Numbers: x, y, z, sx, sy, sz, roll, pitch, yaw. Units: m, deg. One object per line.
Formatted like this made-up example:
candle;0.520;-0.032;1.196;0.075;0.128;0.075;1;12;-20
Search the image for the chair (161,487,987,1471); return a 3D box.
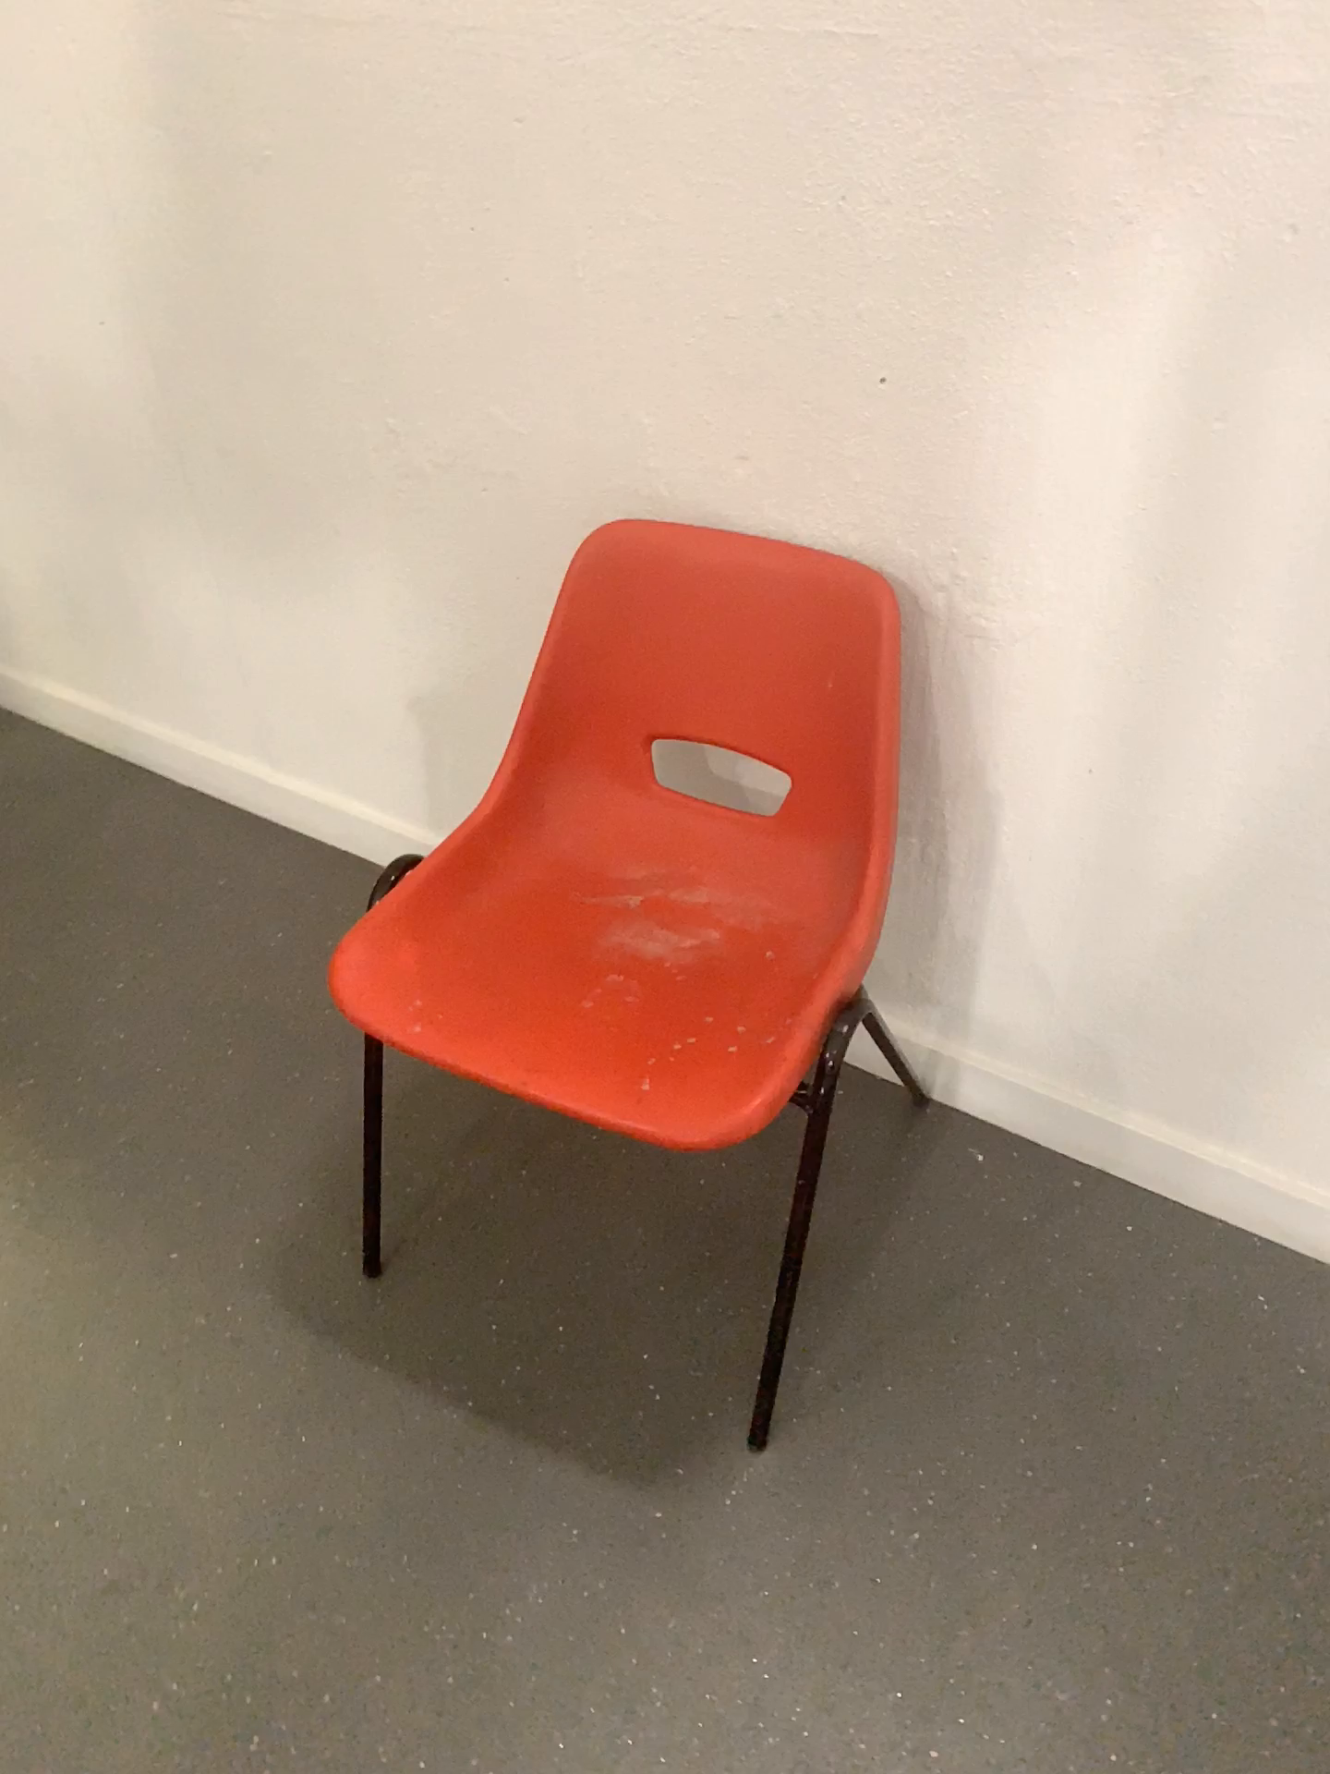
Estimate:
chair;-0.031;0.075;1.428;0.511;0.713;0.594;16;44;21
